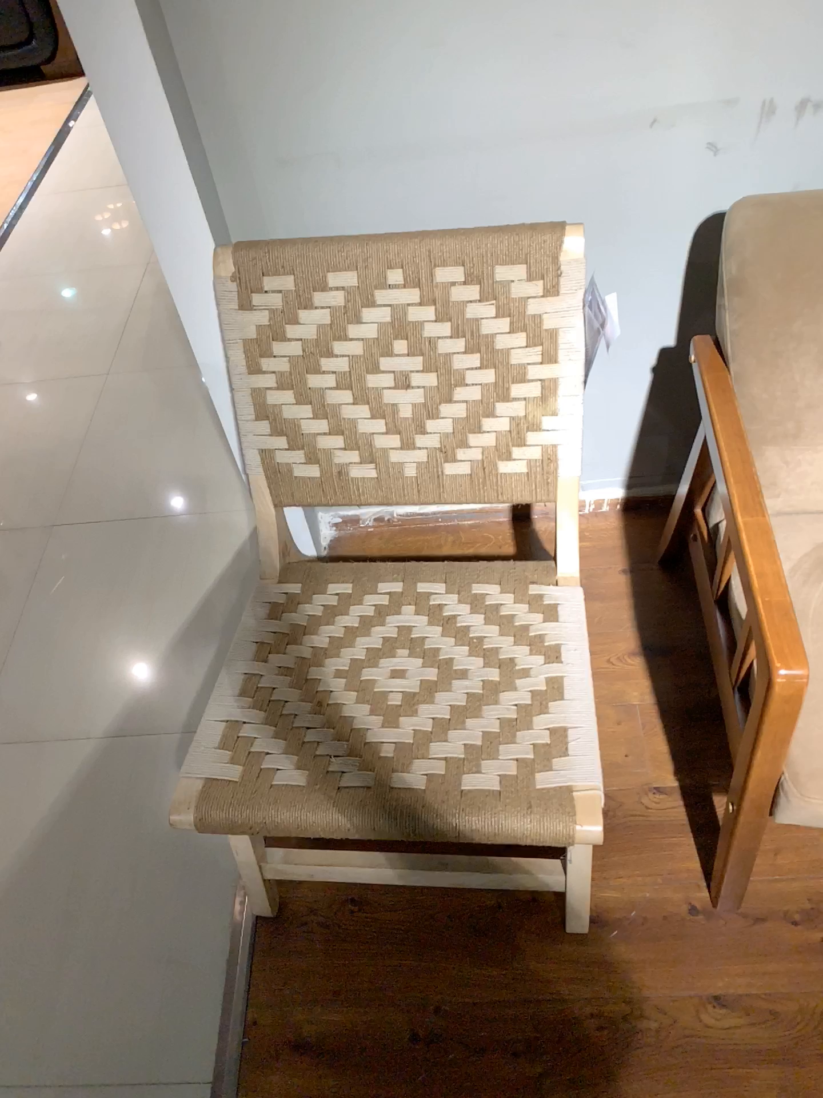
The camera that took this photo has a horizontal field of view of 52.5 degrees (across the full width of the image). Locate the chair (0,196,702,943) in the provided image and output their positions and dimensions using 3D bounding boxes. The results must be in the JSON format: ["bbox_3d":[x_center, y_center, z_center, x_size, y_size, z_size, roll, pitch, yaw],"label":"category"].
[{"bbox_3d":[-0.013,0.081,1.216,0.630,0.847,0.662,-1,50,8],"label":"chair"}]
